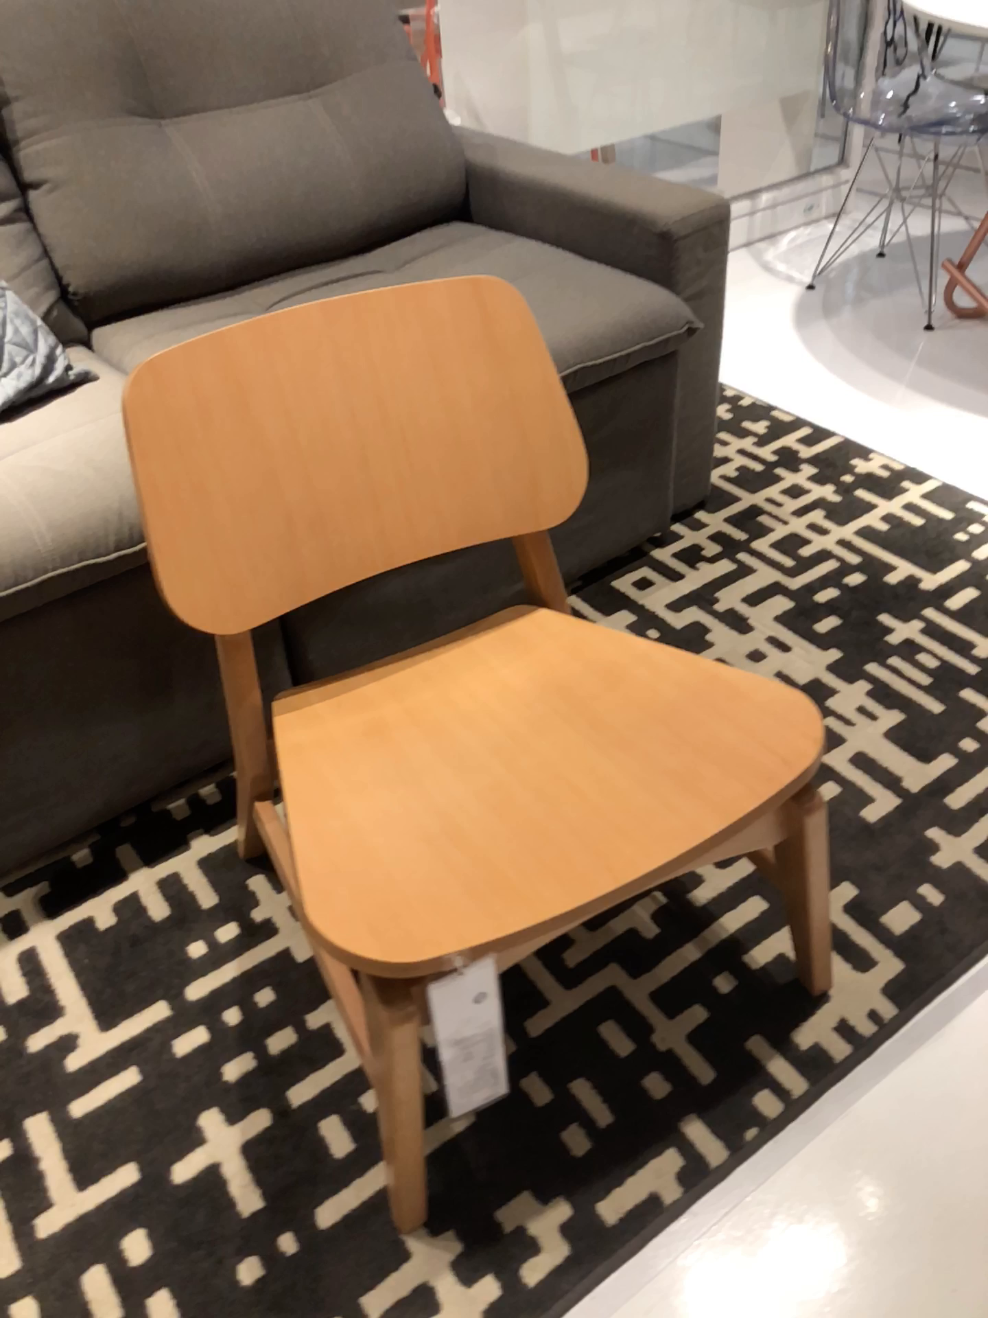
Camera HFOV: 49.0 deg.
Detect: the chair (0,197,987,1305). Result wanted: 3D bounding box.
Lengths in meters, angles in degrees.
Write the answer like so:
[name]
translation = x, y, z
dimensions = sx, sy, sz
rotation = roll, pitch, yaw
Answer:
[chair]
translation = 0.002, 0.013, 1.055
dimensions = 0.641, 0.625, 0.654
rotation = -22, 42, -21
